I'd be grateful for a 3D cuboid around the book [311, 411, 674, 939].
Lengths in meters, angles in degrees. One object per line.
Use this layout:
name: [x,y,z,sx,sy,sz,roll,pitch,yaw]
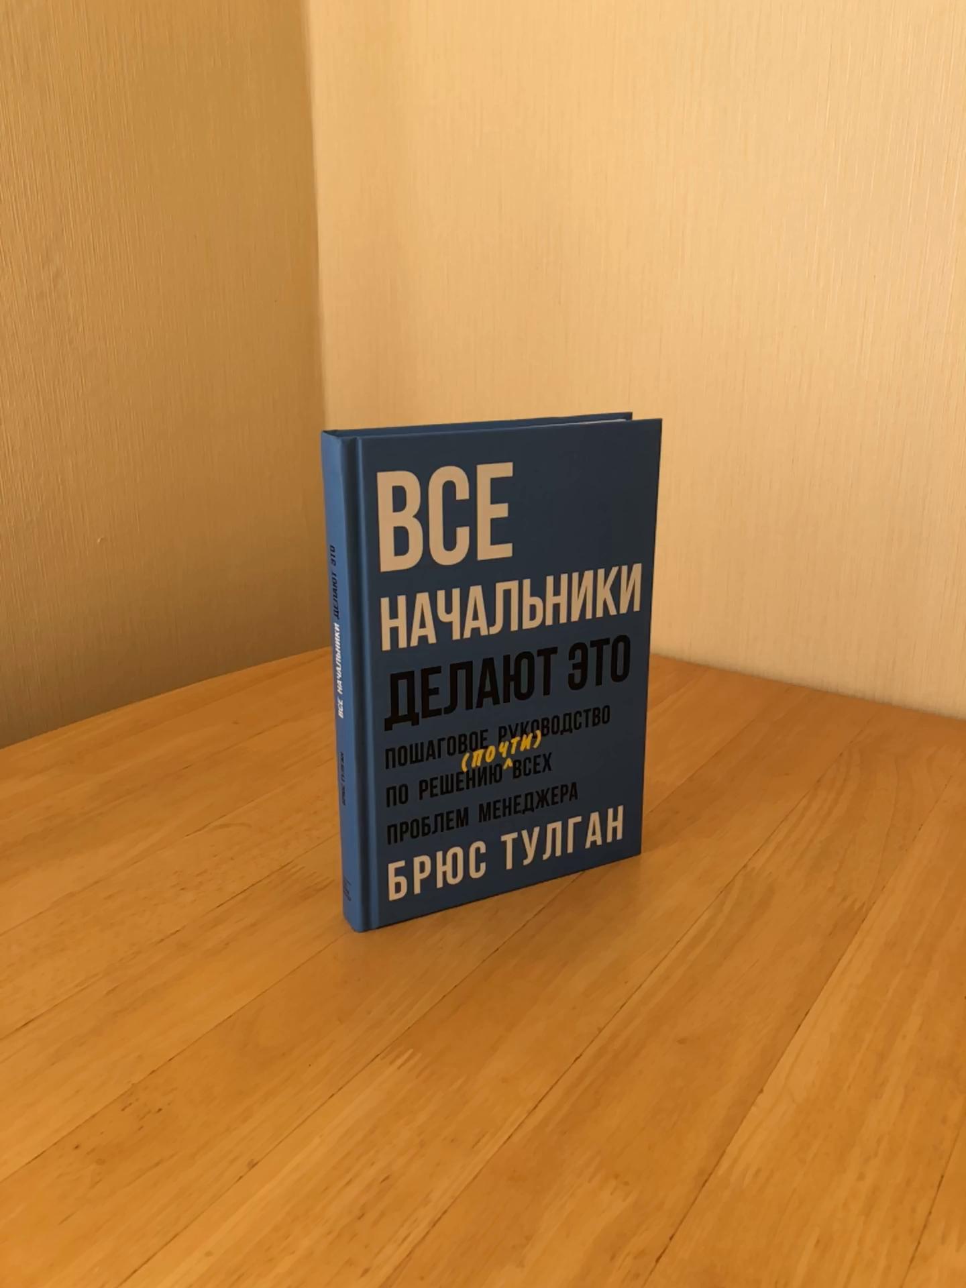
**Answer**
book: [0.007,0.010,0.459,0.150,0.208,0.025,-9,19,-25]
